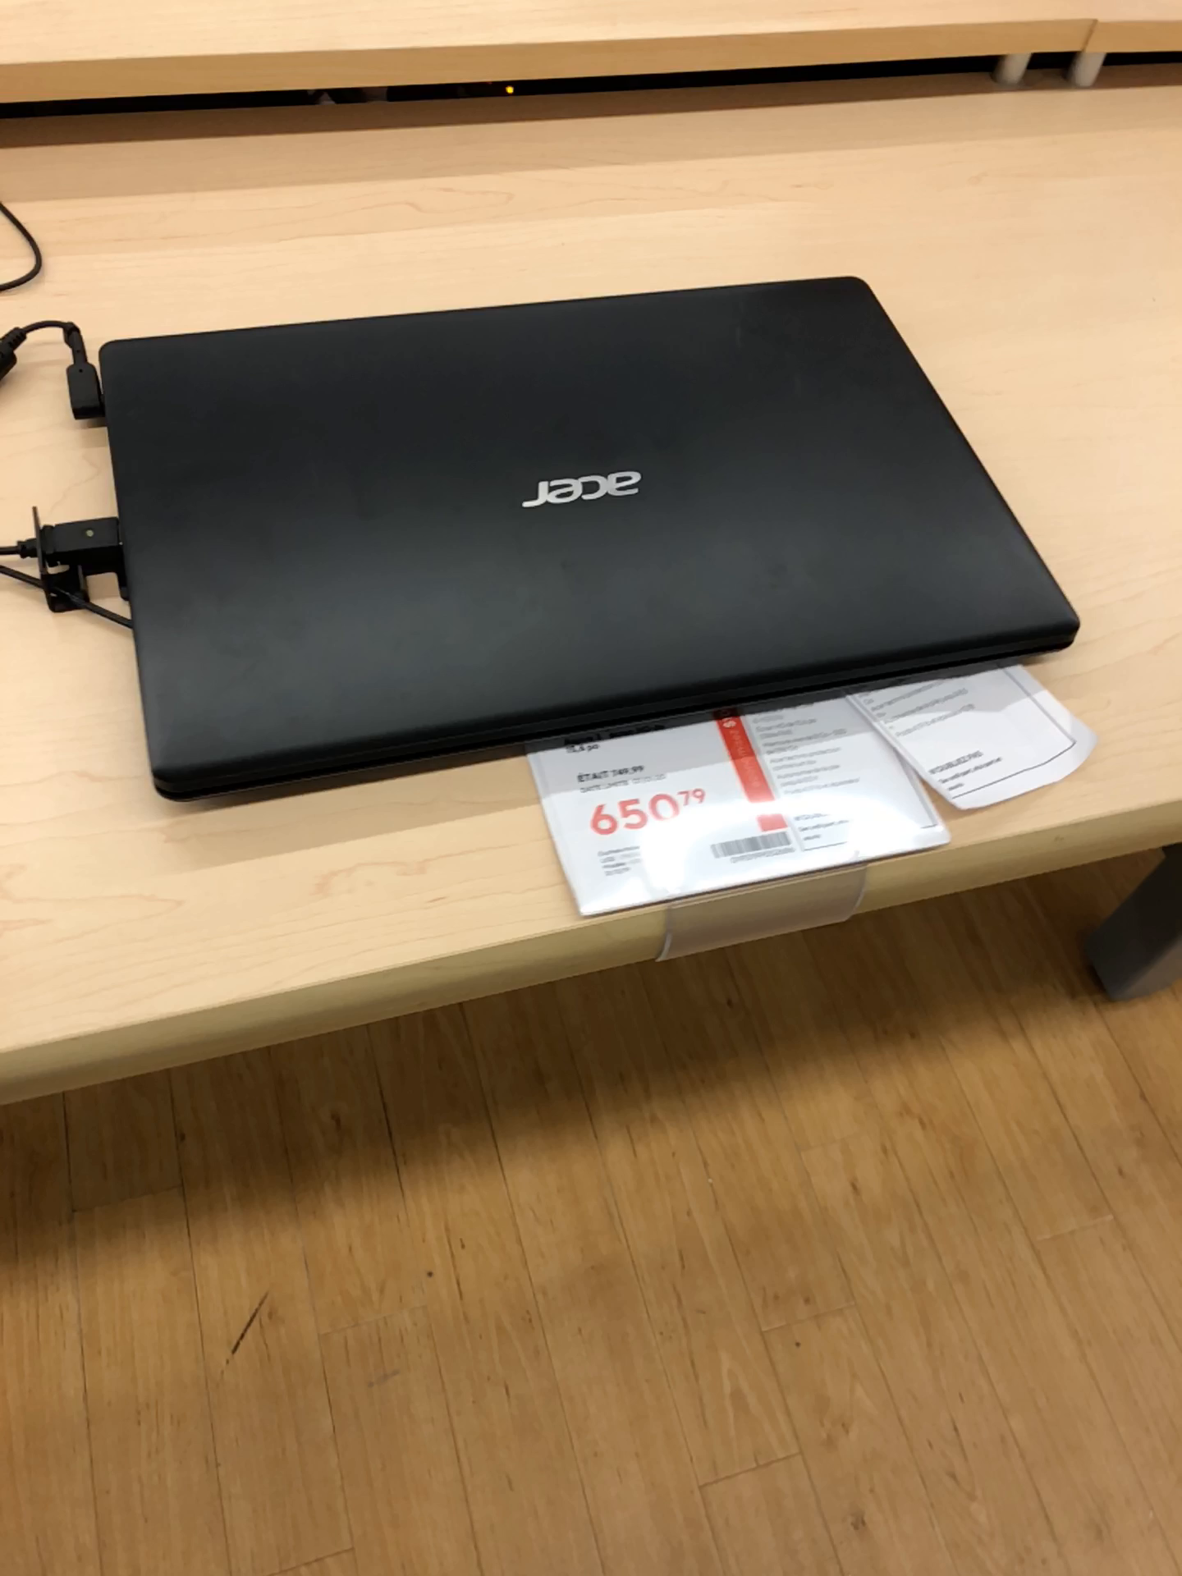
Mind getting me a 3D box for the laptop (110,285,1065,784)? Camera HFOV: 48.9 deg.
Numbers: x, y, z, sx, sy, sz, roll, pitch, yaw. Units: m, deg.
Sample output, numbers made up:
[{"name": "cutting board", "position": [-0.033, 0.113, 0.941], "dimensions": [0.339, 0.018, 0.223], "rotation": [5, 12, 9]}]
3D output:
[{"name": "laptop", "position": [-0.003, -0.122, 0.526], "dimensions": [0.347, 0.003, 0.213], "rotation": [-11, 59, -16]}]
